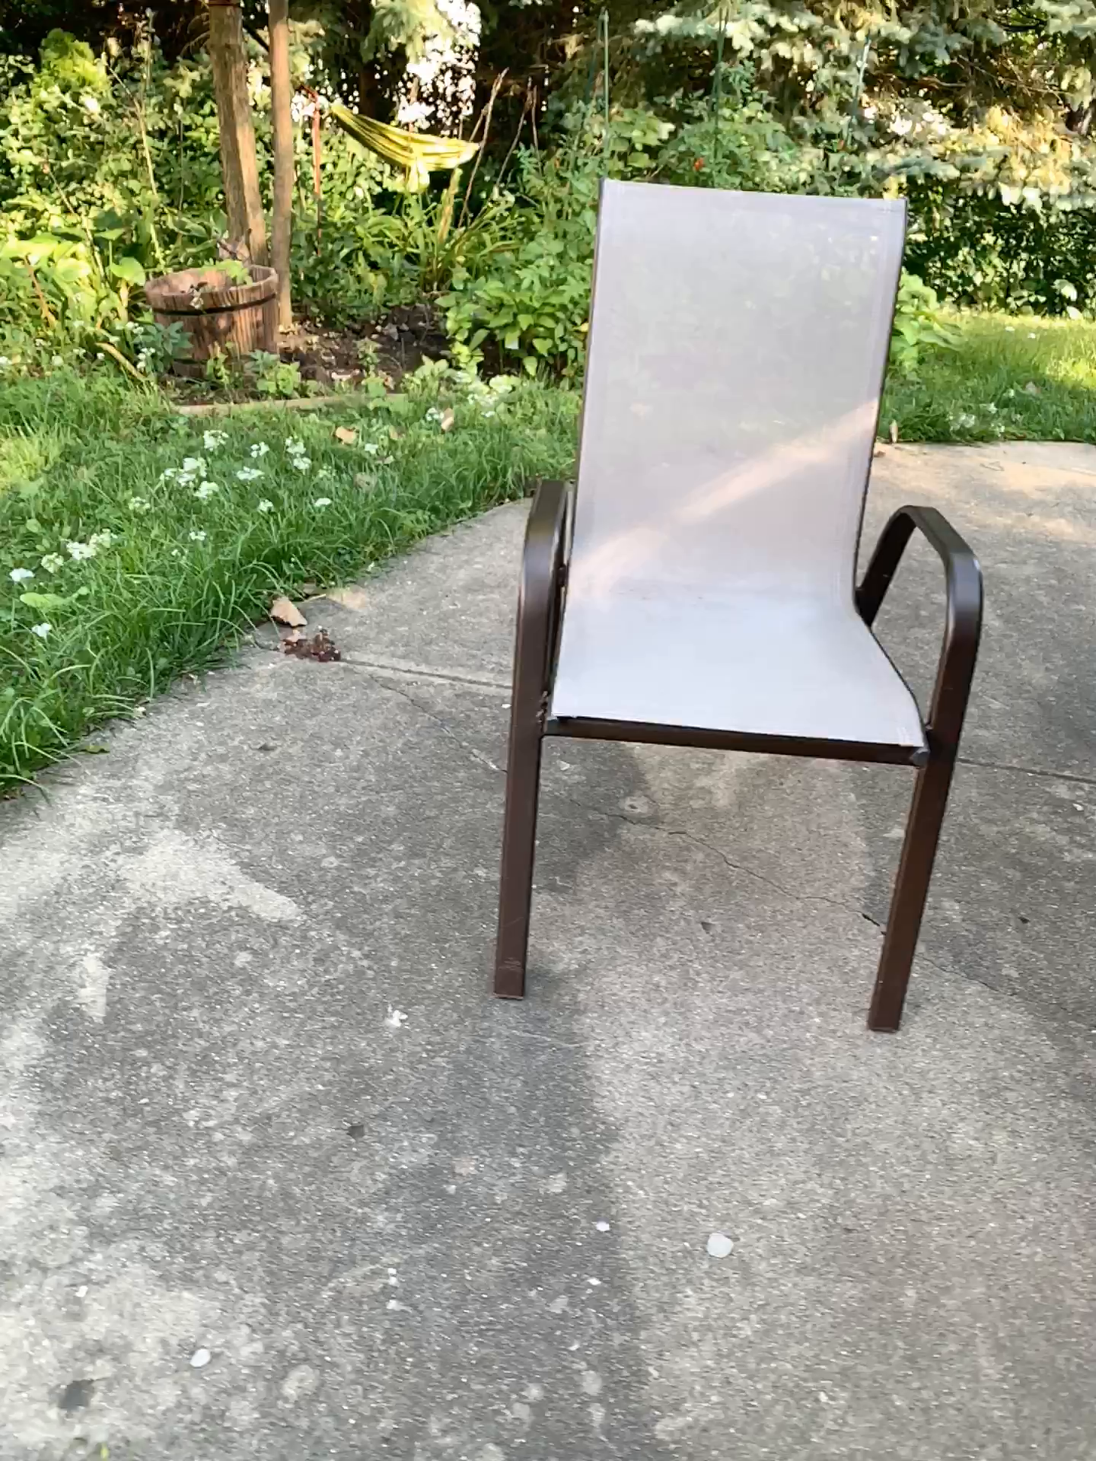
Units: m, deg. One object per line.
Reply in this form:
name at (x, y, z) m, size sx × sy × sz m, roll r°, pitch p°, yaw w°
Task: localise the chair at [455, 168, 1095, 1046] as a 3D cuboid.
chair at (0.221, -0.194, 1.462) m, size 0.570 × 0.845 × 0.744 m, roll 5°, pitch 33°, yaw 1°
